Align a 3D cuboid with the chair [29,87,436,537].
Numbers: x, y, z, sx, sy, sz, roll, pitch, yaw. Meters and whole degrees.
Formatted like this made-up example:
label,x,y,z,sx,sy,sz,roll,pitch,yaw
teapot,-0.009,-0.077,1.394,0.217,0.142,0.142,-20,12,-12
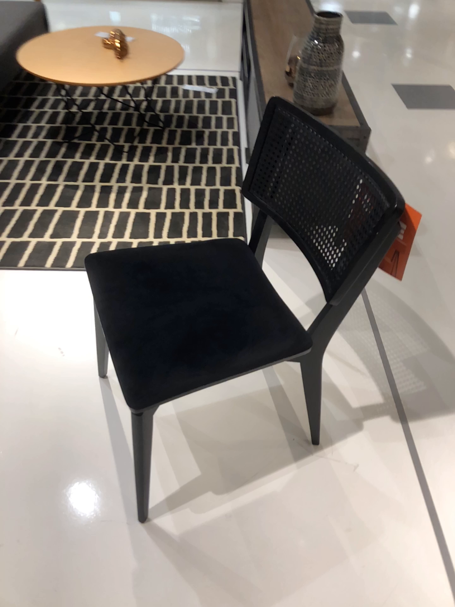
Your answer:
label,x,y,z,sx,sy,sz,roll,pitch,yaw
chair,-0.042,0.019,1.129,0.551,0.744,0.533,-15,46,-17
